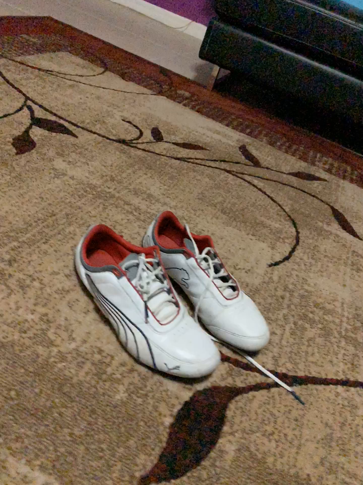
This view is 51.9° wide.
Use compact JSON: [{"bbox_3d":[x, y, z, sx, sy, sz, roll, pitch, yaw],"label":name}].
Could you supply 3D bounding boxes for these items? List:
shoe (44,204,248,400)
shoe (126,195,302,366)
[{"bbox_3d":[-0.059,0.063,0.510,0.281,0.070,0.099,38,40,22],"label":"shoe"},{"bbox_3d":[0.038,0.040,0.585,0.104,0.070,0.282,-16,50,-39],"label":"shoe"}]
